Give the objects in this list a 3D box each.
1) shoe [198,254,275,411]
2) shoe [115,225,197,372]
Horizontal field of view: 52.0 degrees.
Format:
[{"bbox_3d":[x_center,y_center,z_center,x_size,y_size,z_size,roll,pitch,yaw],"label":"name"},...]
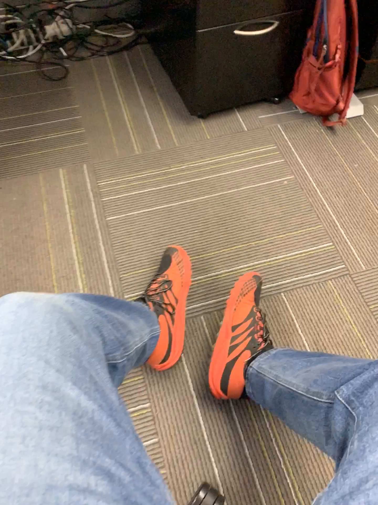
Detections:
[{"bbox_3d":[0.122,0.177,0.902,0.108,0.138,0.318,2,57,20],"label":"shoe"},{"bbox_3d":[-0.072,0.109,0.928,0.108,0.128,0.308,29,51,-34],"label":"shoe"}]
